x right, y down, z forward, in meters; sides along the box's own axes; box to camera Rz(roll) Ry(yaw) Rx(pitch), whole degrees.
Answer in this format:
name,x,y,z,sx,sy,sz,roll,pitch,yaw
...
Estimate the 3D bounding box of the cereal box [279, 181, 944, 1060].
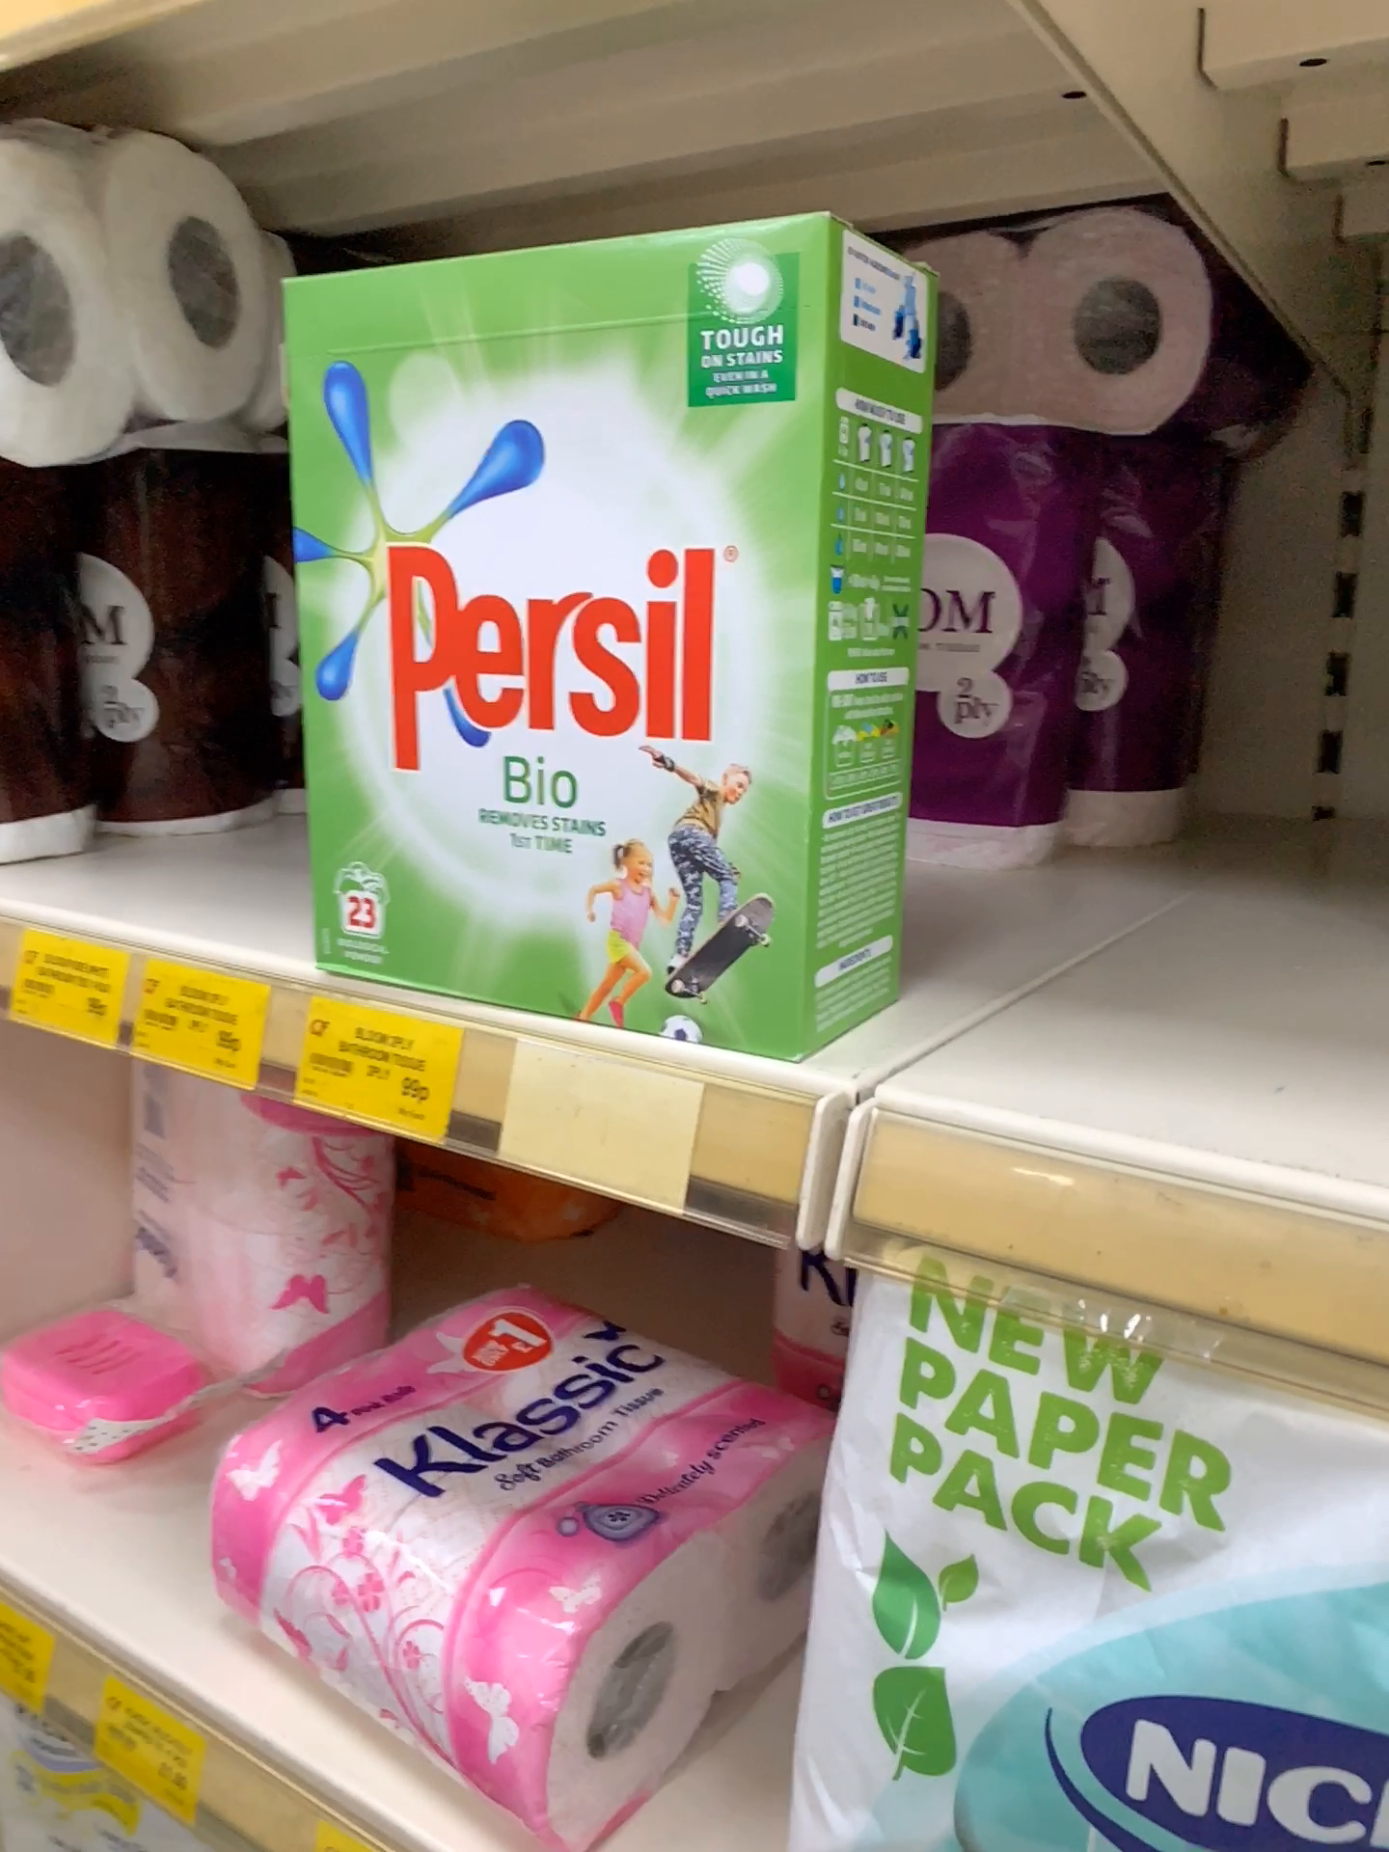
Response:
name,x,y,z,sx,sy,sz,roll,pitch,yaw
cereal box,-0.031,-0.098,0.485,0.200,0.239,0.090,8,13,31
